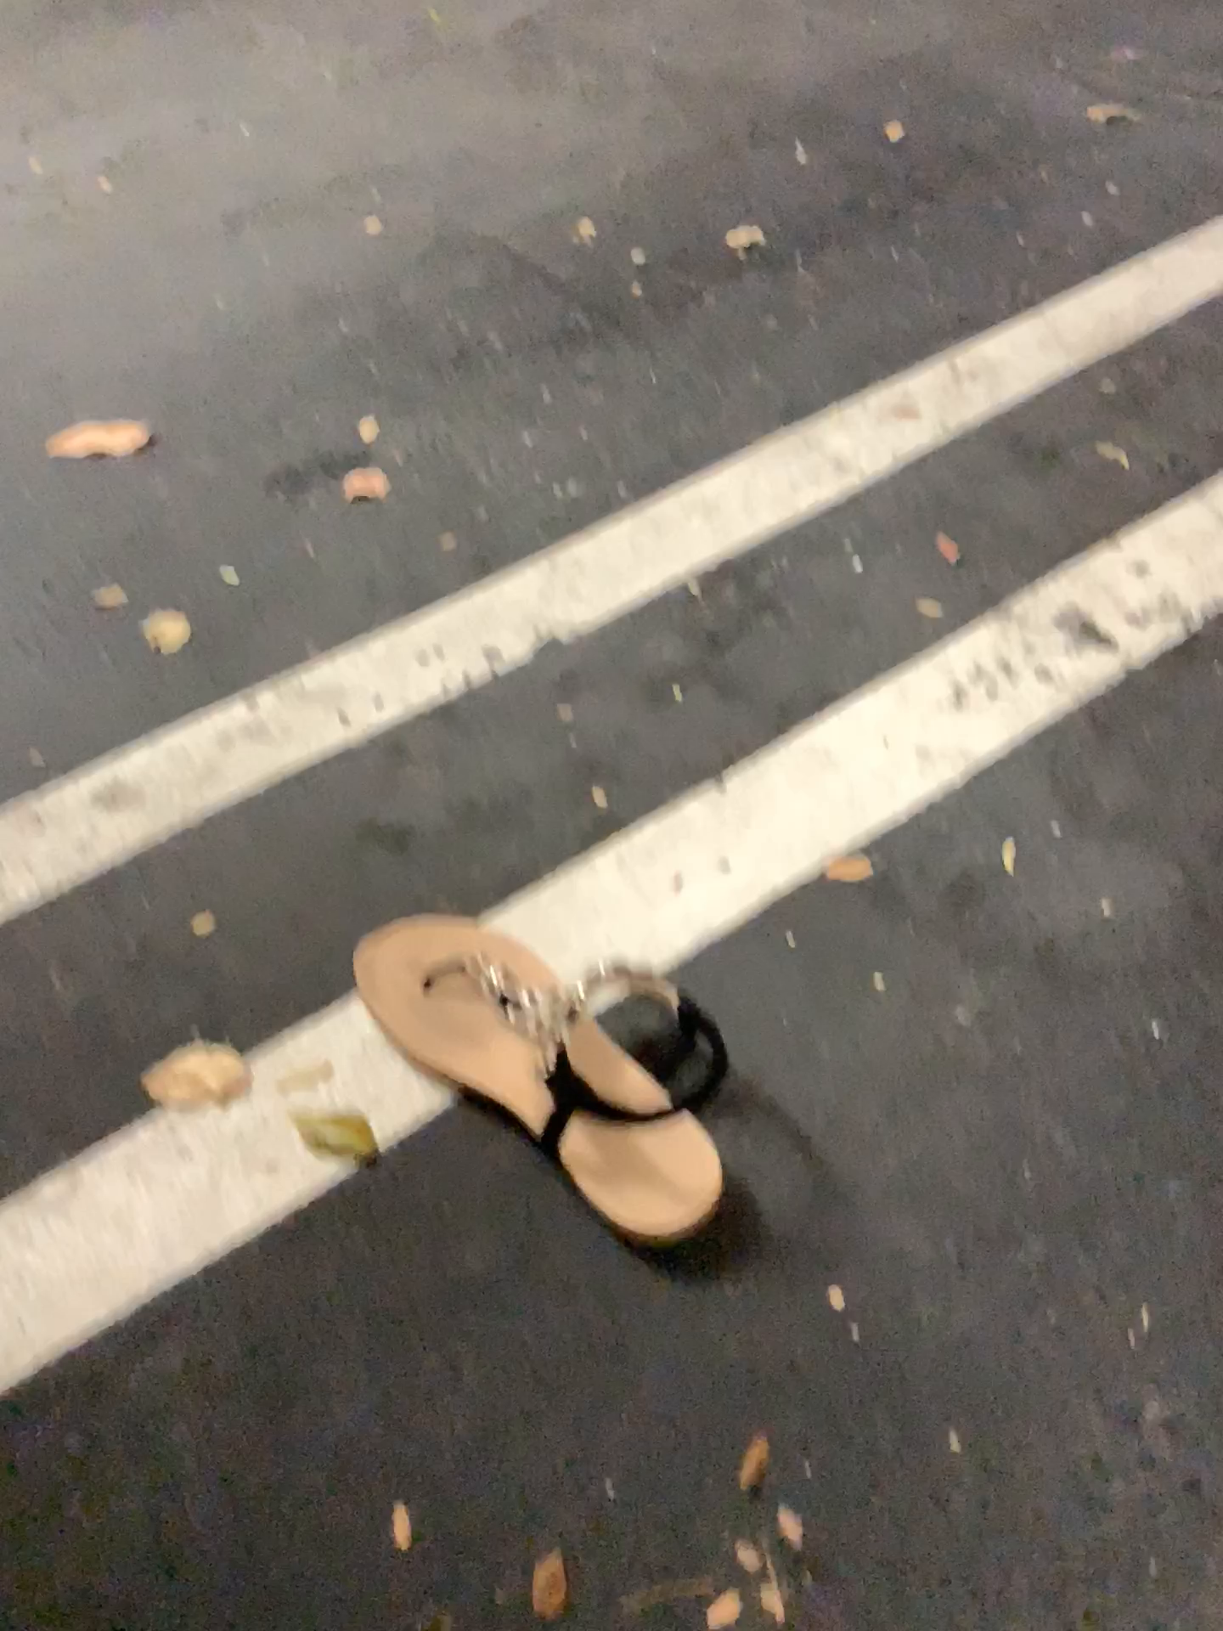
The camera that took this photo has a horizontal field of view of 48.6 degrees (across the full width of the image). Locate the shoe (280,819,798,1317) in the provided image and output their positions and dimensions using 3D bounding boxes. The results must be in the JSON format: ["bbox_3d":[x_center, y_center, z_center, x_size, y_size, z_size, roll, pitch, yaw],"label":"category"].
[{"bbox_3d":[-0.042,0.119,0.708,0.120,0.060,0.260,-39,54,-25],"label":"shoe"}]
